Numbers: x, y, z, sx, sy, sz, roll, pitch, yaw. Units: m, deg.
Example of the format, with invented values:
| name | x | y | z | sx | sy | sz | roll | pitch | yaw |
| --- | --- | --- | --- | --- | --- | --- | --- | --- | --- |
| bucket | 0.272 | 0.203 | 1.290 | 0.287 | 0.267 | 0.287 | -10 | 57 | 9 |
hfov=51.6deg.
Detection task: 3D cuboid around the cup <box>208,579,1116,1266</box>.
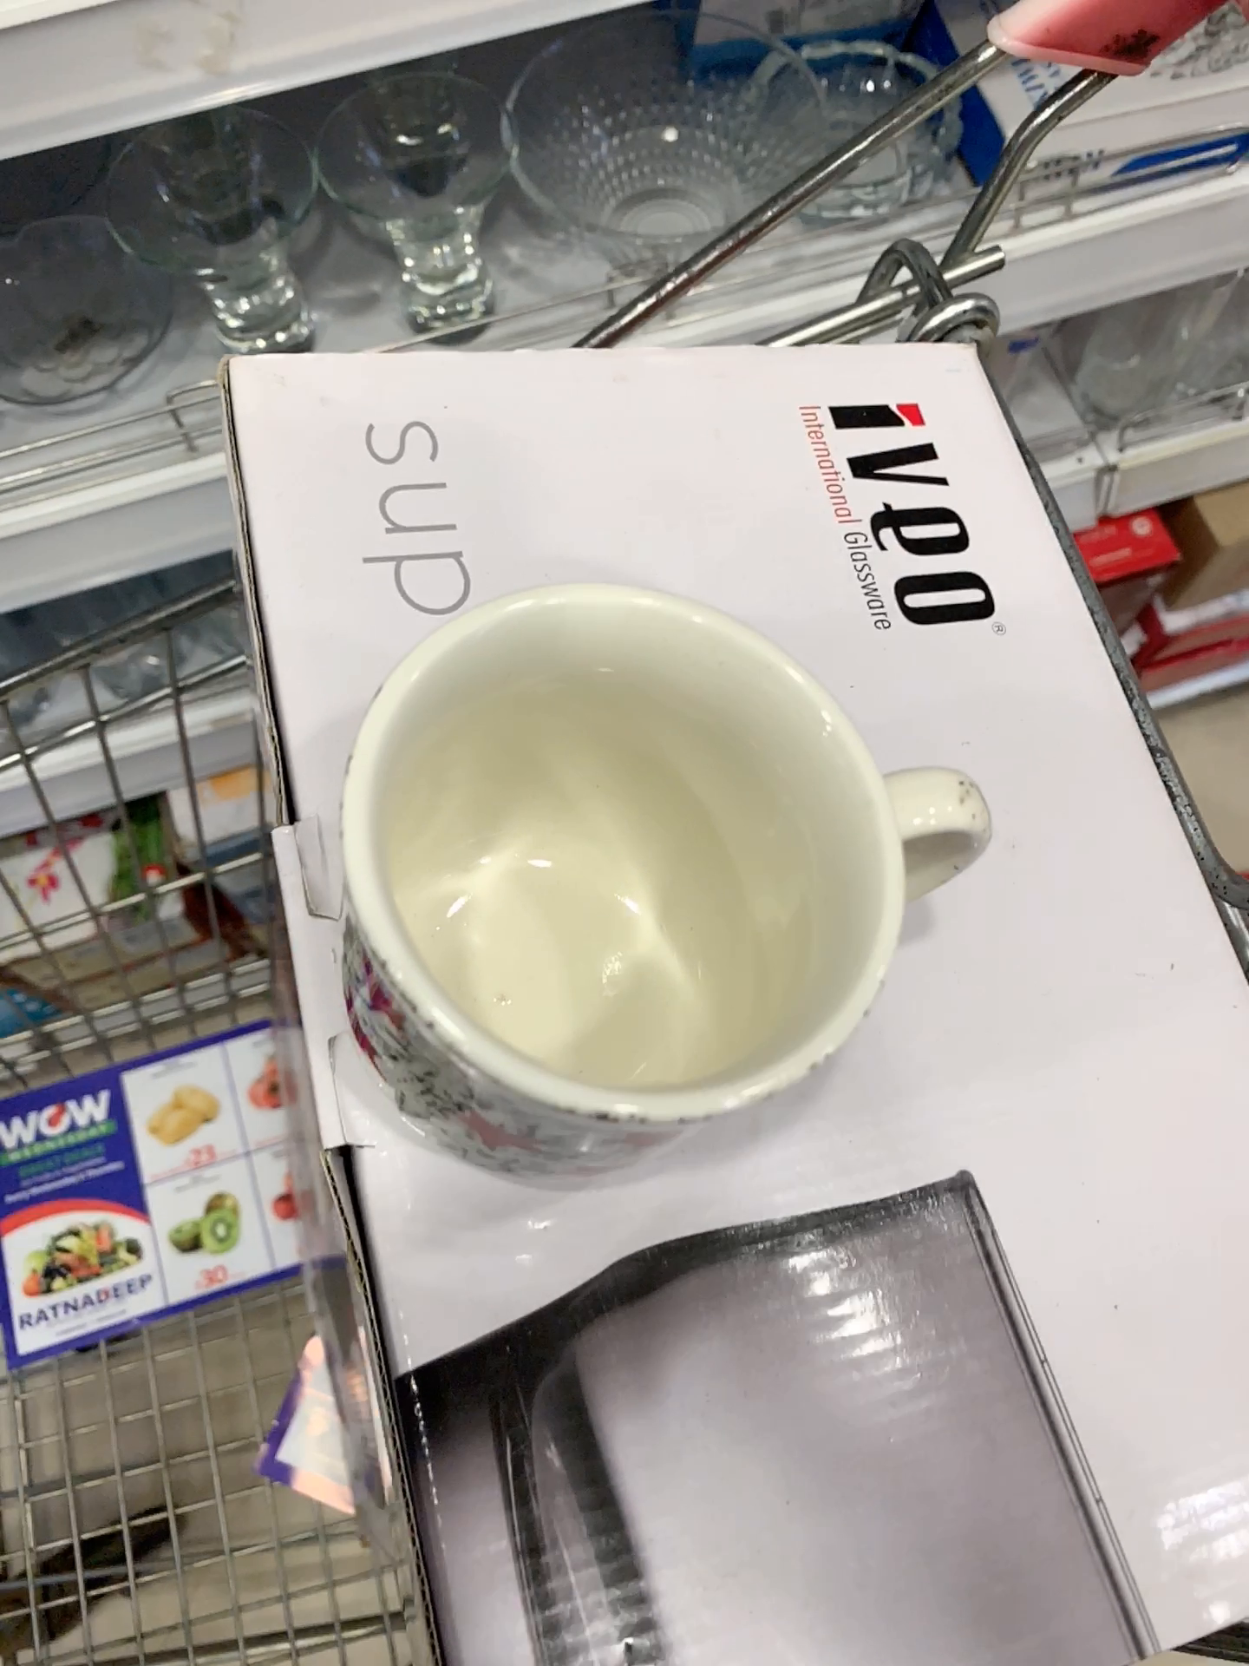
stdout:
| name | x | y | z | sx | sy | sz | roll | pitch | yaw |
| --- | --- | --- | --- | --- | --- | --- | --- | --- | --- |
| cup | -0.002 | 0.012 | 0.189 | 0.100 | 0.070 | 0.070 | -5 | 68 | -24 |
